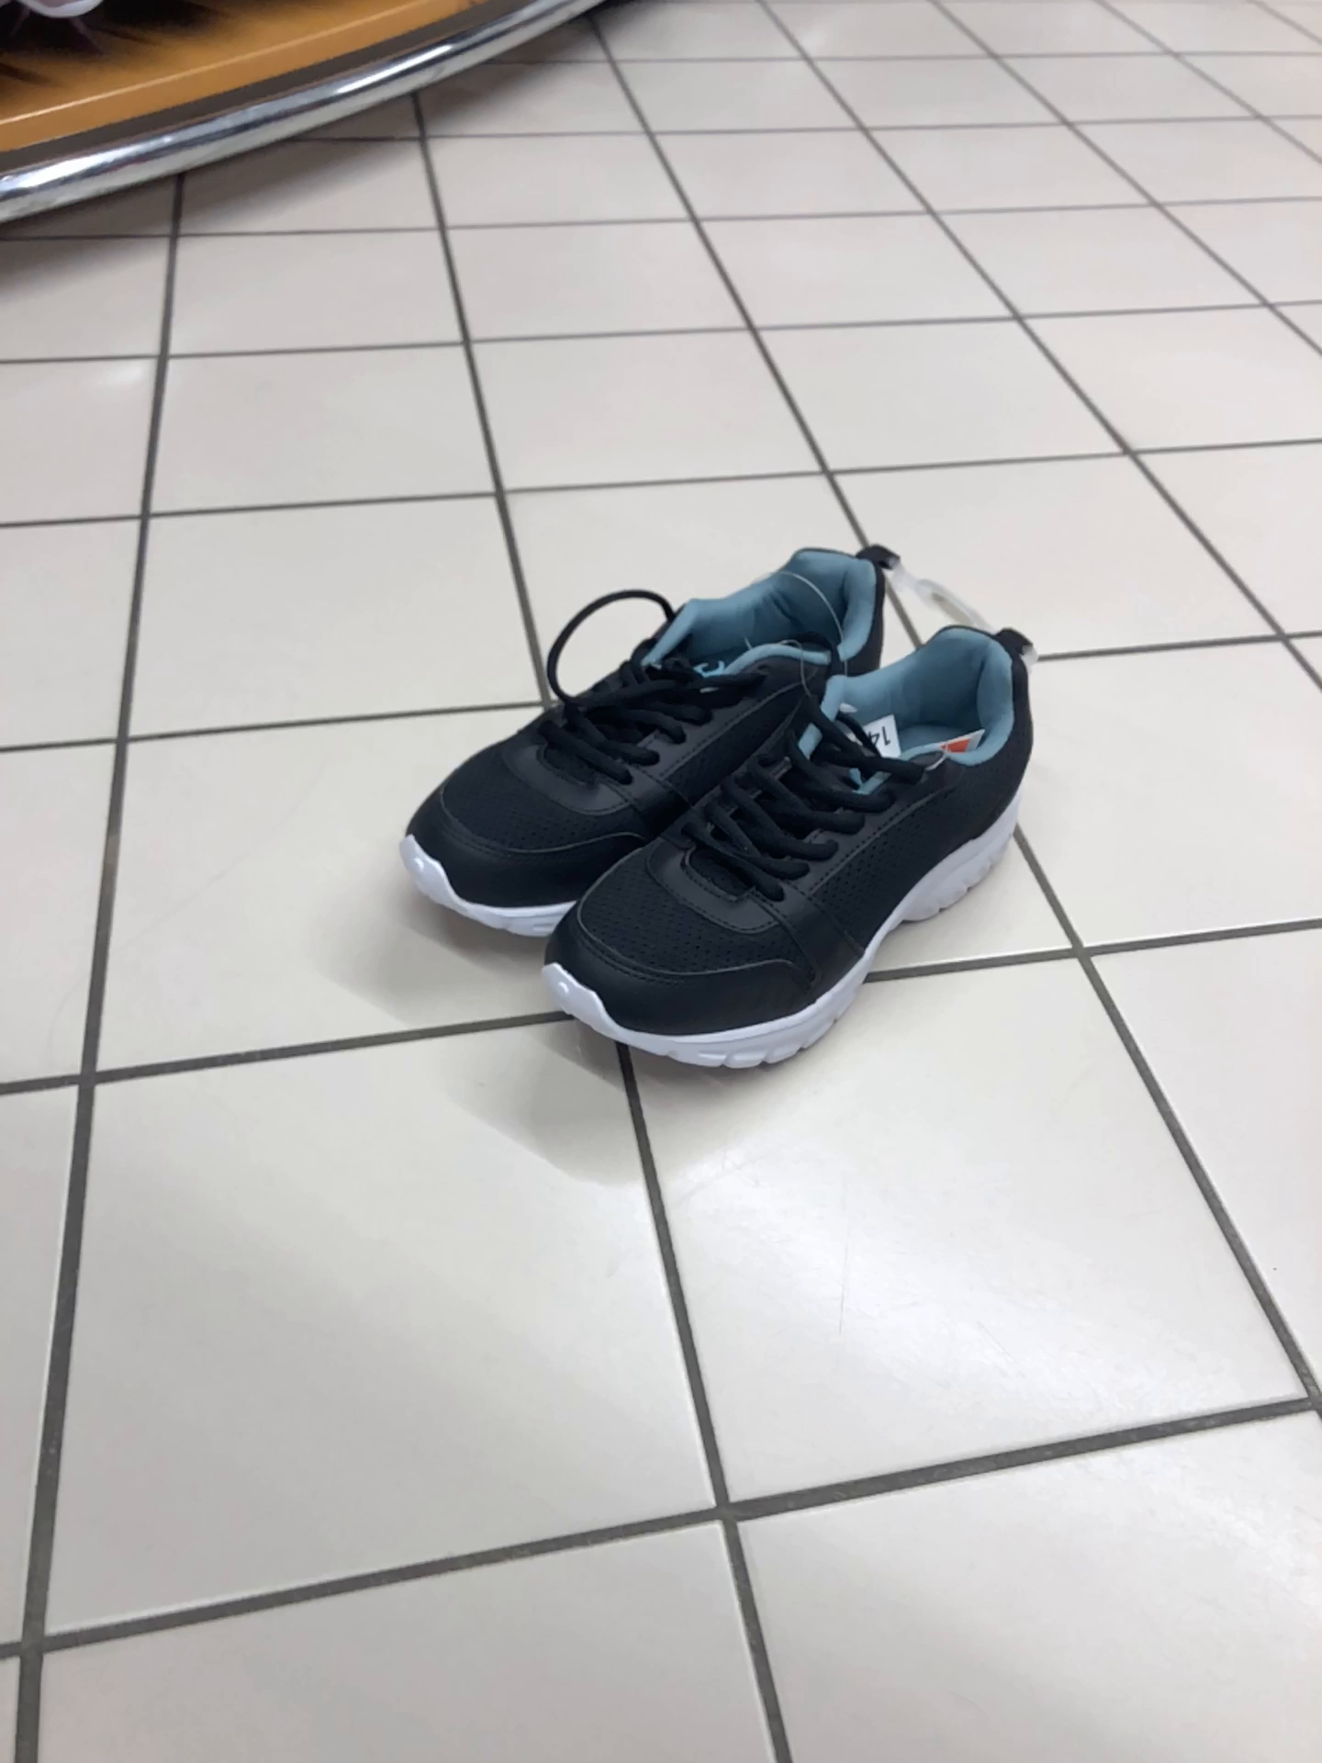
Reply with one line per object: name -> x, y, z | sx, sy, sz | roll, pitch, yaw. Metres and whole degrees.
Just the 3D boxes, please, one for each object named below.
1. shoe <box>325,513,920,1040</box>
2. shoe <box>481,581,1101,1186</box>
shoe -> -0.008, -0.056, 0.629 | 0.241, 0.099, 0.100 | -34, 51, -32
shoe -> 0.055, -0.009, 0.588 | 0.241, 0.109, 0.100 | -34, 55, -32
